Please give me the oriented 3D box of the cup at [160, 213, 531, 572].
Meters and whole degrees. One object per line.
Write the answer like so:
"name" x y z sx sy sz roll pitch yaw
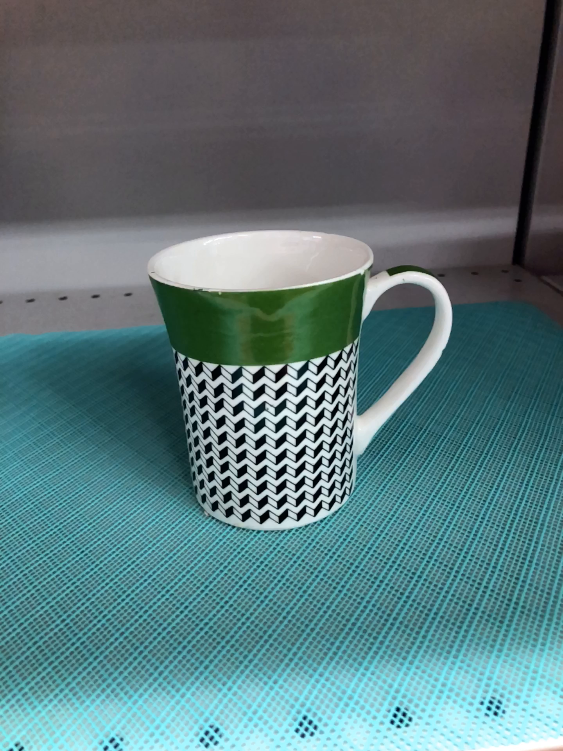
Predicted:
"cup" 0.015 0.000 0.237 0.110 0.099 0.080 -5 25 -9
